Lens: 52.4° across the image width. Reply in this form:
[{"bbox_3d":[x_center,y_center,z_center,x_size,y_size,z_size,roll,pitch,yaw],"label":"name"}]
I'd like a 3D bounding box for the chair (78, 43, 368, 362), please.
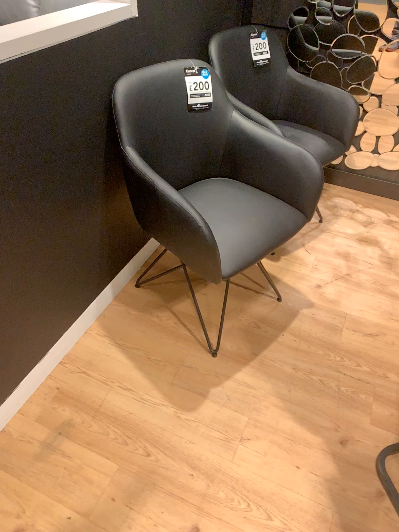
[{"bbox_3d":[0.057,-0.245,1.439,0.606,0.776,0.594,-32,52,-32],"label":"chair"}]

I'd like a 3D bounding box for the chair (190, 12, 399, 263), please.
[{"bbox_3d":[0.371,-0.601,1.876,0.594,0.836,0.566,33,50,29],"label":"chair"}]
